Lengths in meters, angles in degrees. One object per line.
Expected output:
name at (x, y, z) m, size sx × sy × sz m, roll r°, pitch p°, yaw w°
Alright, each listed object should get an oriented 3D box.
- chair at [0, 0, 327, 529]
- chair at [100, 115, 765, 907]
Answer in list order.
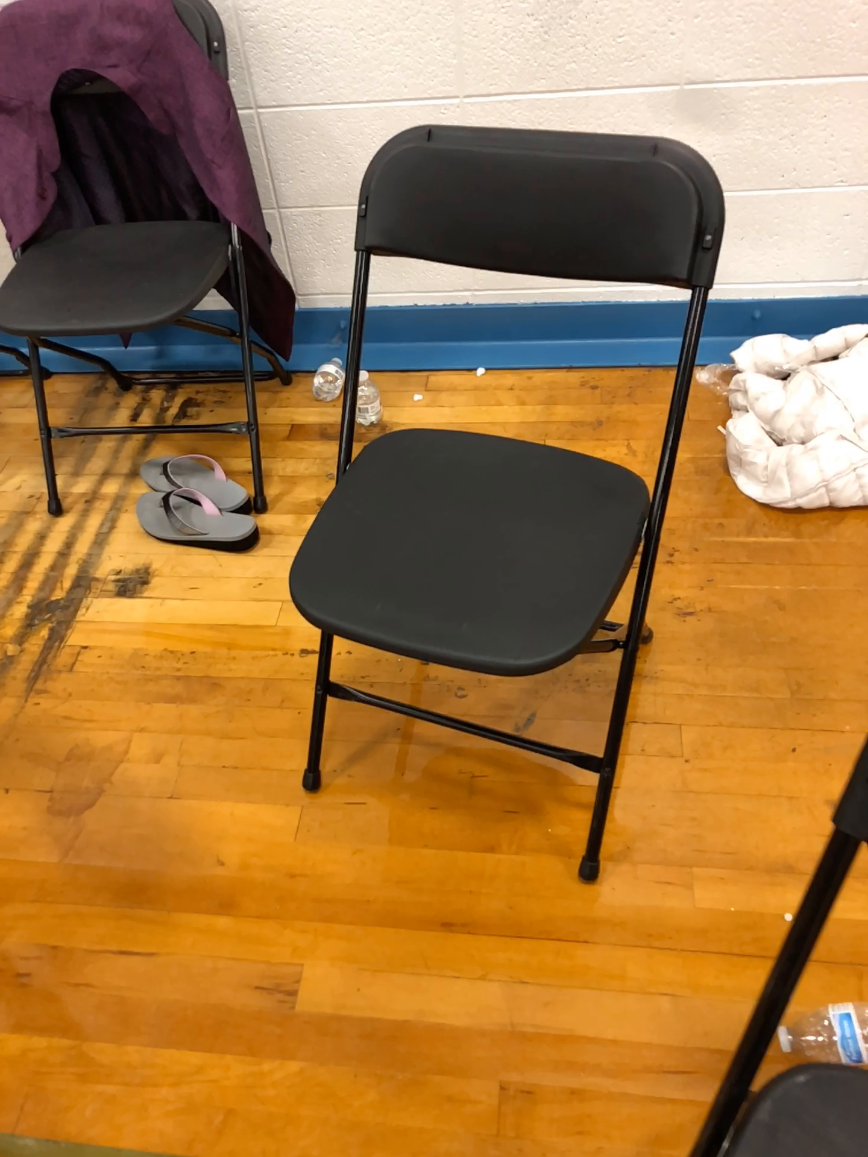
chair at (-0.546, -0.567, 1.714) m, size 0.481 × 0.790 × 0.546 m, roll 0°, pitch 45°, yaw 8°
chair at (0.064, -0.079, 1.151) m, size 0.472 × 0.720 × 0.526 m, roll 12°, pitch 48°, yaw 19°
